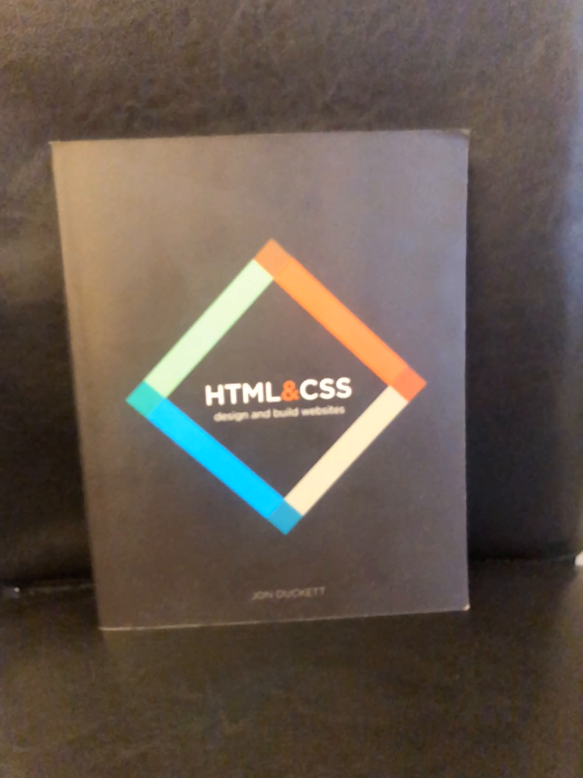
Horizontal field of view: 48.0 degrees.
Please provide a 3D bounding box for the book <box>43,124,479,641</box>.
[{"bbox_3d":[-0.007,0.001,0.318,0.188,0.231,0.030,-3,10,-2],"label":"book"}]
